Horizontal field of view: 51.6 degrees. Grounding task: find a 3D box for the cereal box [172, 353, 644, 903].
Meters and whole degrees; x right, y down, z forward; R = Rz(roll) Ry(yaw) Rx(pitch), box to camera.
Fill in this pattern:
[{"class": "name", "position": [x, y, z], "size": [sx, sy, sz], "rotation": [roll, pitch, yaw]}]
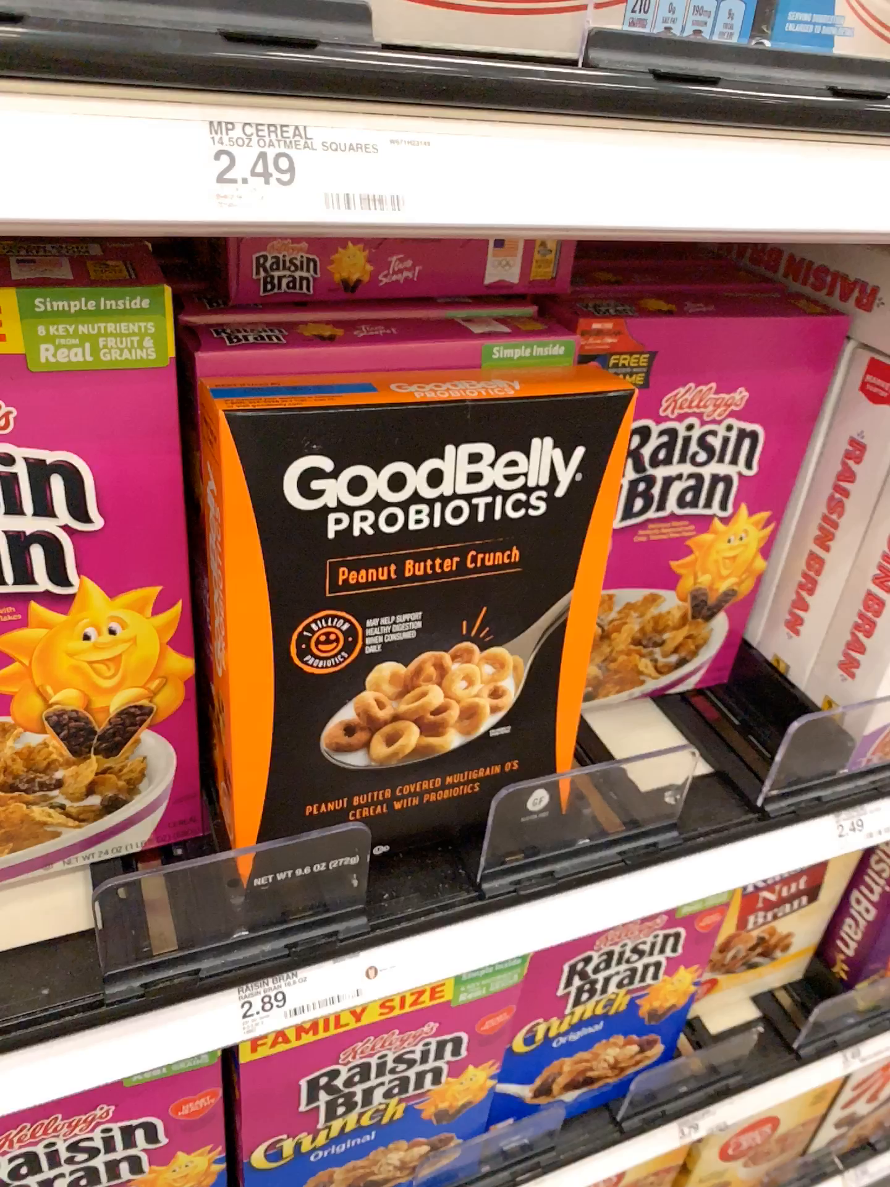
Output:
[{"class": "cereal box", "position": [-0.019, 0.017, 0.455], "size": [0.200, 0.249, 0.050], "rotation": [-9, 30, -23]}]
